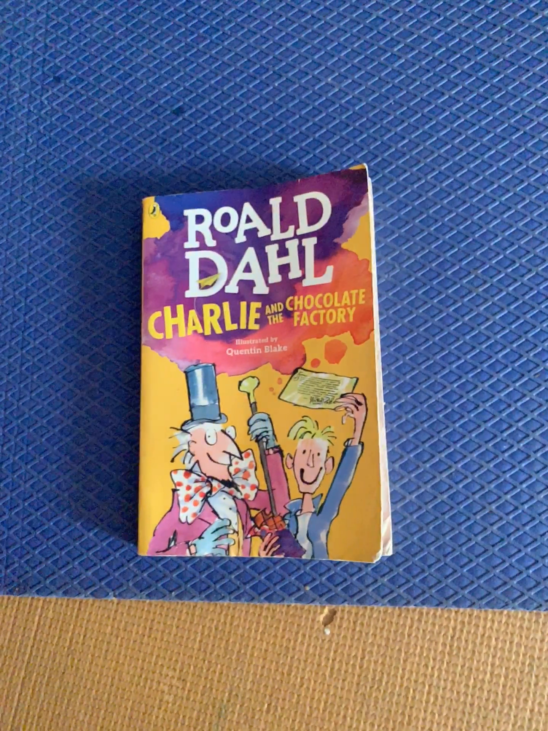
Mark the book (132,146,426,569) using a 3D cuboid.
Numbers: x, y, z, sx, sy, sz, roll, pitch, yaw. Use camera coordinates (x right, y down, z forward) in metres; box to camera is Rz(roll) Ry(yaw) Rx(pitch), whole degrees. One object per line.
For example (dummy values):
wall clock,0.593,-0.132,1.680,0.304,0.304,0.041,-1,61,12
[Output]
book,-0.001,-0.006,0.297,0.140,0.020,0.210,-3,80,8
